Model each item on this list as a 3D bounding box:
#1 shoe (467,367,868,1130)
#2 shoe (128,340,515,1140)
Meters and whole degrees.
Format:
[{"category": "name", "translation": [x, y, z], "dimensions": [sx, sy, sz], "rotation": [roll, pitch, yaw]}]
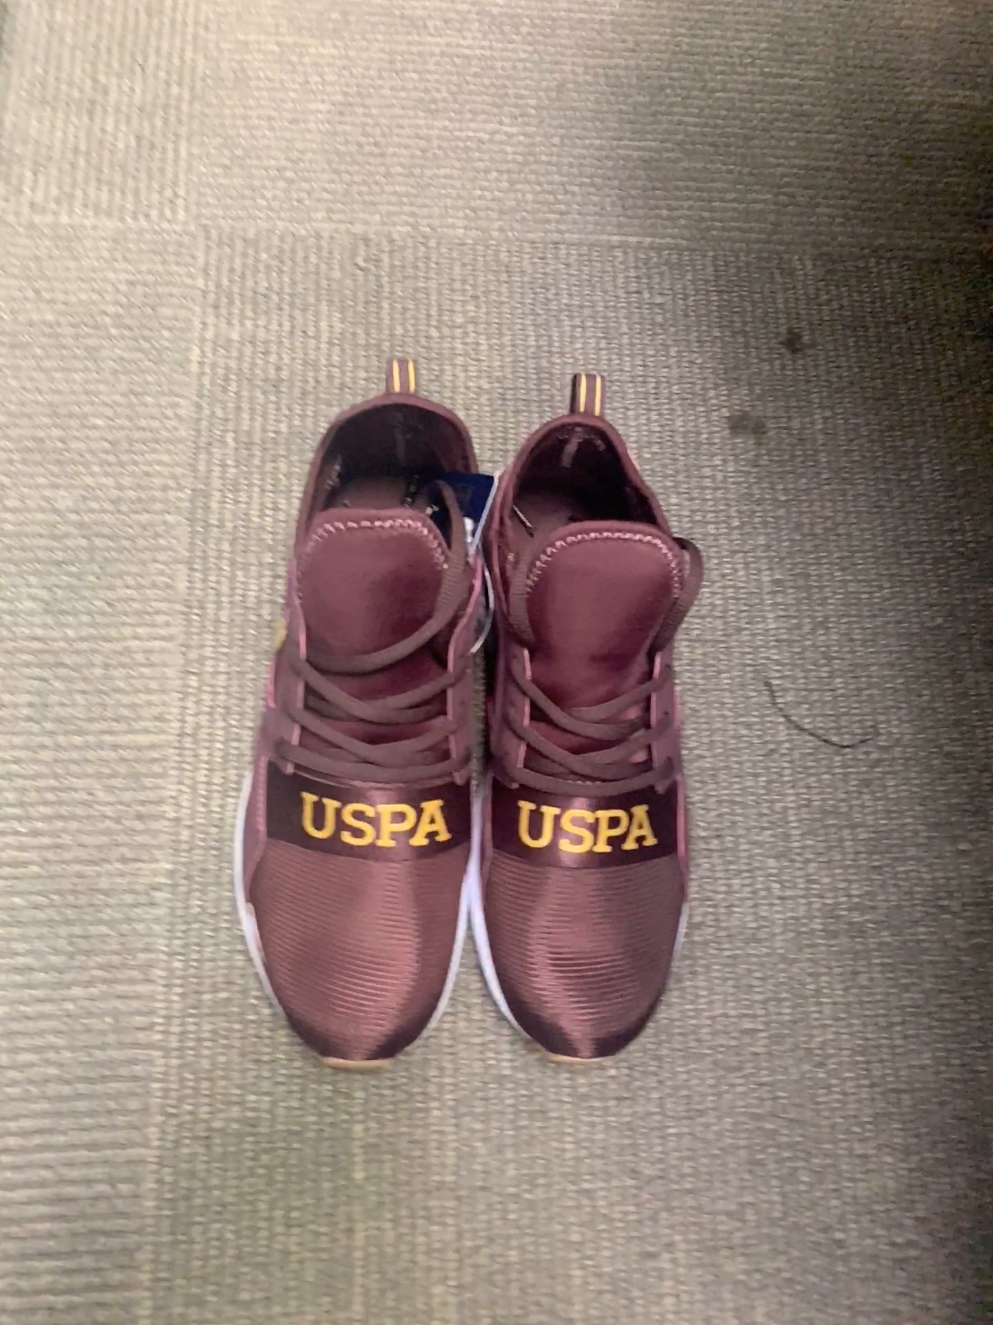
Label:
[{"category": "shoe", "translation": [0.047, 0.036, 0.391], "dimensions": [0.103, 0.149, 0.241], "rotation": [1, 74, -7]}, {"category": "shoe", "translation": [-0.056, 0.033, 0.382], "dimensions": [0.103, 0.156, 0.243], "rotation": [1, 74, -7]}]
